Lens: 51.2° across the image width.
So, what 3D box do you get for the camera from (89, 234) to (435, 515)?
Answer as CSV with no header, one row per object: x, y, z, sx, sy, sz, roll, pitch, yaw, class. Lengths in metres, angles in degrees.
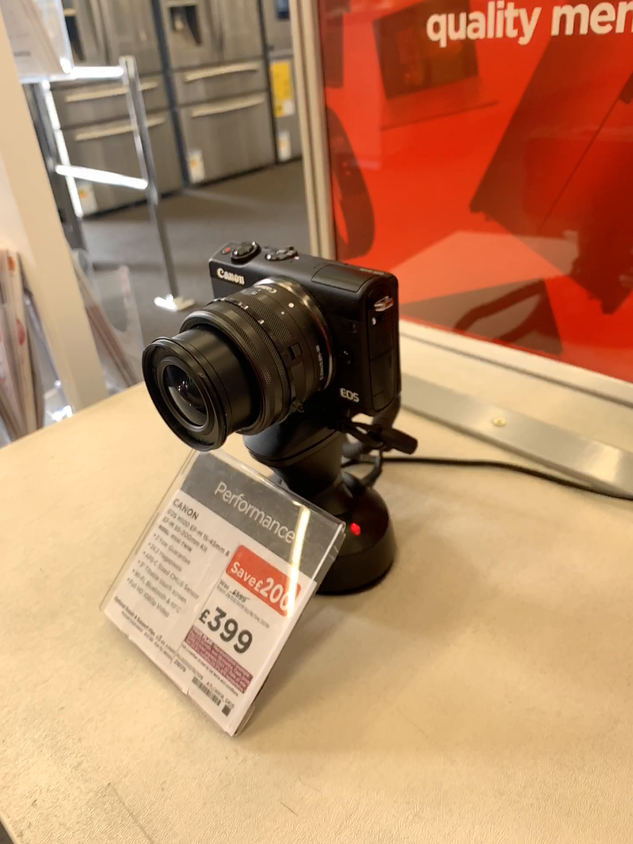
-0.023,-0.033,0.313,0.121,0.069,0.100,23,41,38,camera
